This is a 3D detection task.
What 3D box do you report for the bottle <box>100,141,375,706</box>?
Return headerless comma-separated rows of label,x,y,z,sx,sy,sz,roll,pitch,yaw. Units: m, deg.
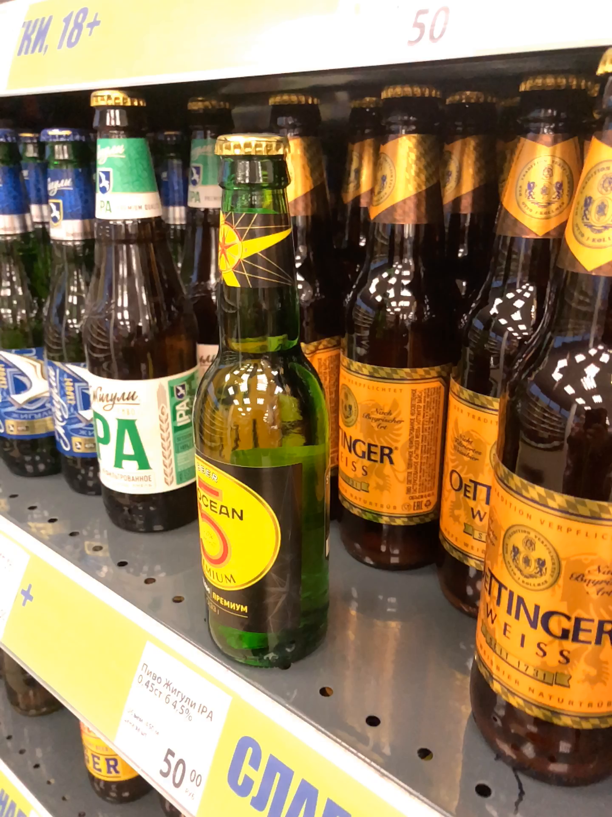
bottle,-0.022,0.004,0.281,0.070,0.210,0.070,-1,22,1
